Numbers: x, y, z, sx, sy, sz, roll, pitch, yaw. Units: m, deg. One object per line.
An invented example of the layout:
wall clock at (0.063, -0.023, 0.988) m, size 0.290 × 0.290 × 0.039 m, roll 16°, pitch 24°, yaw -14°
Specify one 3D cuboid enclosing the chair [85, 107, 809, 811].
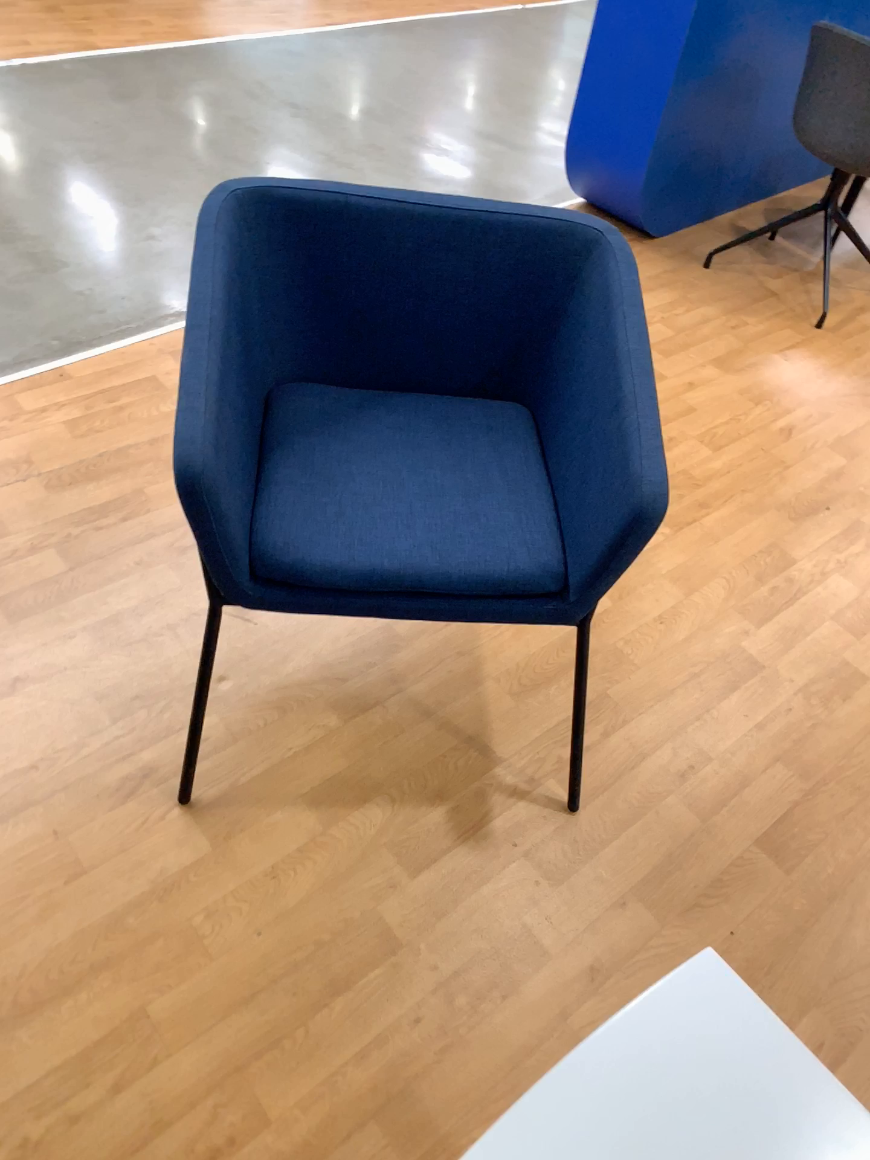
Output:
chair at (-0.035, -0.173, 1.349) m, size 0.700 × 0.685 × 0.756 m, roll 4°, pitch 46°, yaw -8°
